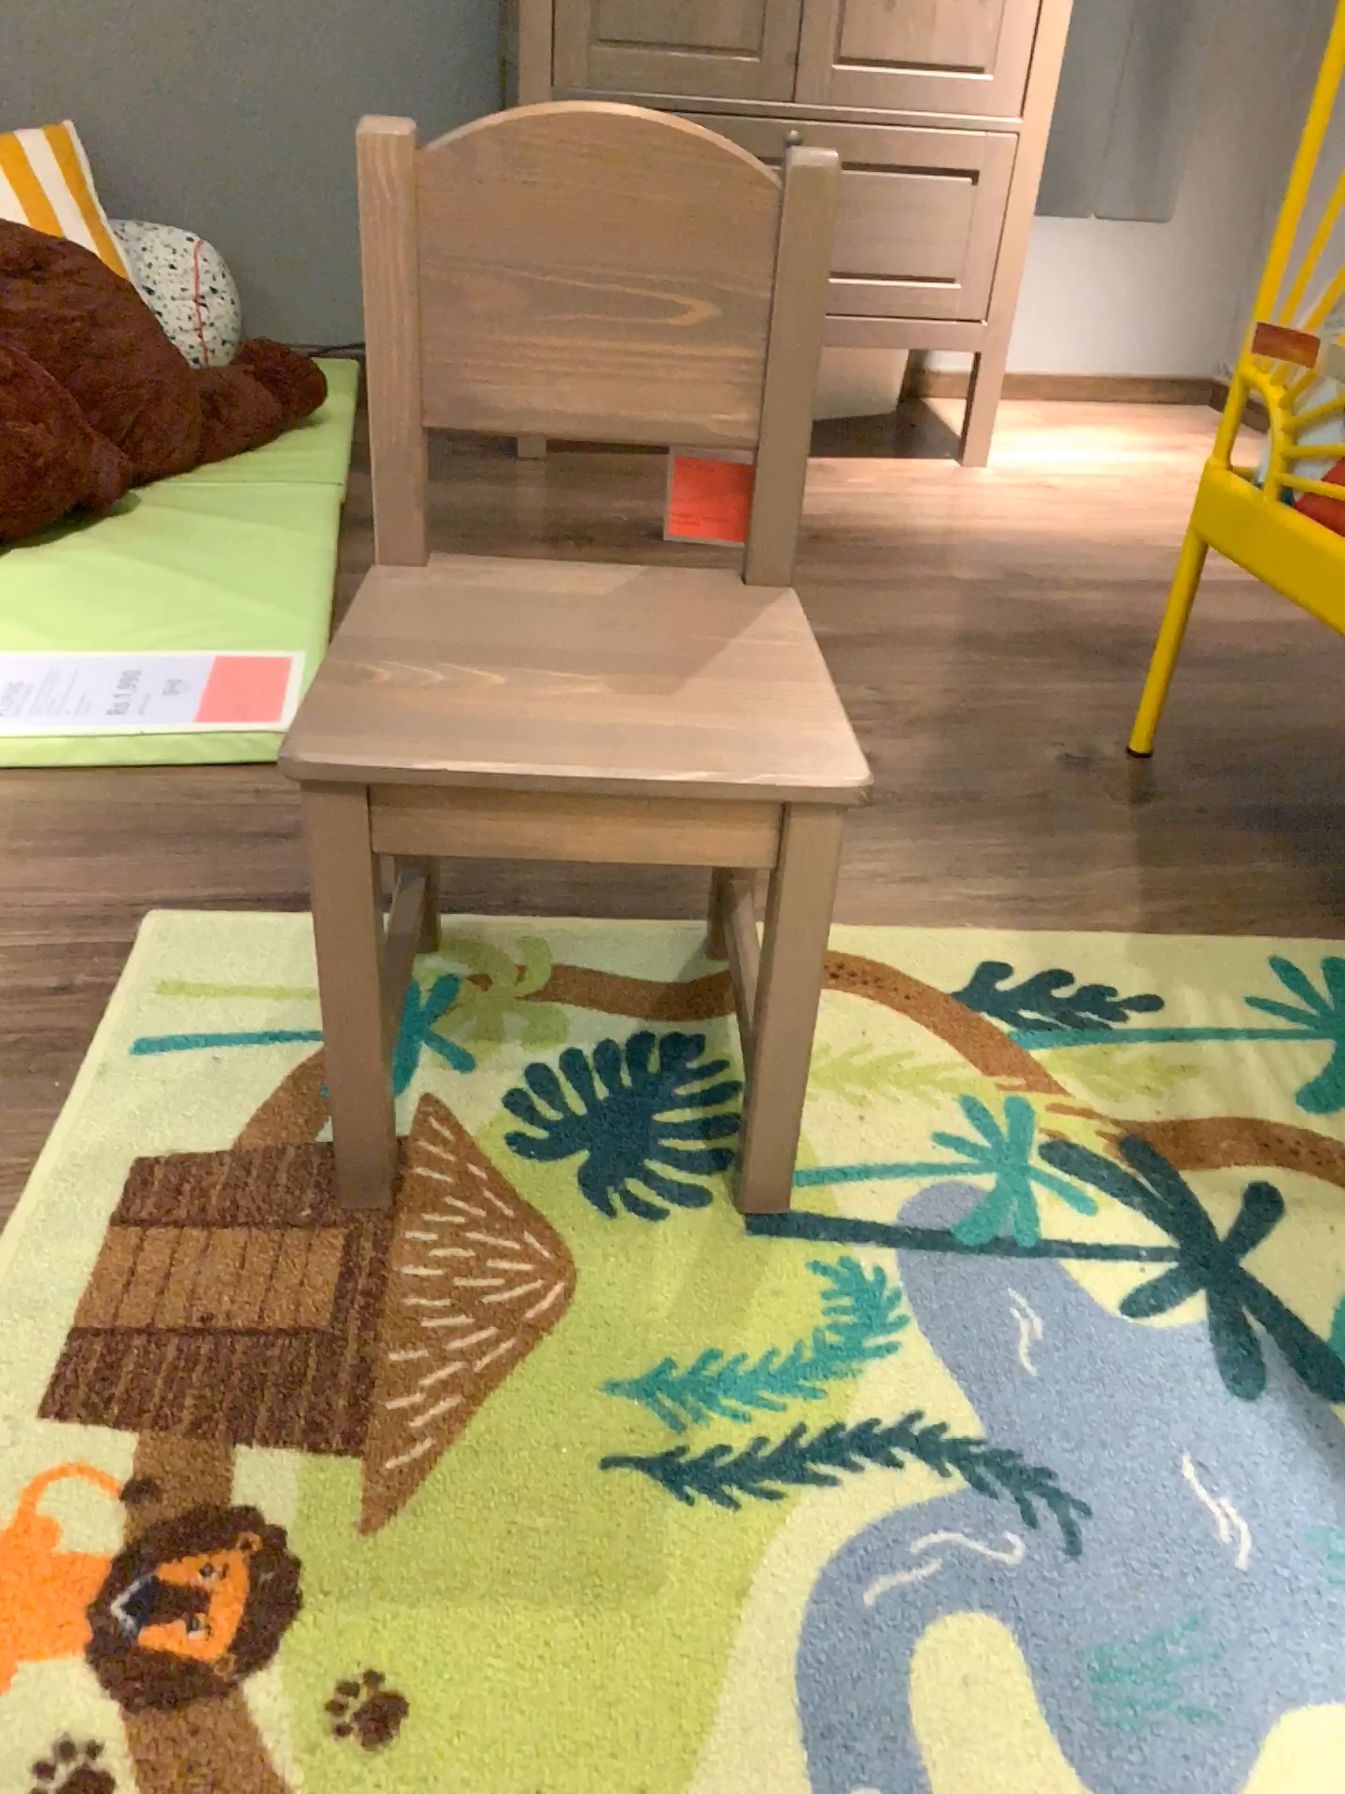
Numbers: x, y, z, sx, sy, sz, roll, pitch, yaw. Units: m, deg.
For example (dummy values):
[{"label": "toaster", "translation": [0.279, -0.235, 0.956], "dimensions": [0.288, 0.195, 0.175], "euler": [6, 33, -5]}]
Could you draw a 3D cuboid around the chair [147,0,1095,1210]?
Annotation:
[{"label": "chair", "translation": [-0.033, -0.145, 0.687], "dimensions": [0.290, 0.488, 0.331], "euler": [3, 32, -3]}]
